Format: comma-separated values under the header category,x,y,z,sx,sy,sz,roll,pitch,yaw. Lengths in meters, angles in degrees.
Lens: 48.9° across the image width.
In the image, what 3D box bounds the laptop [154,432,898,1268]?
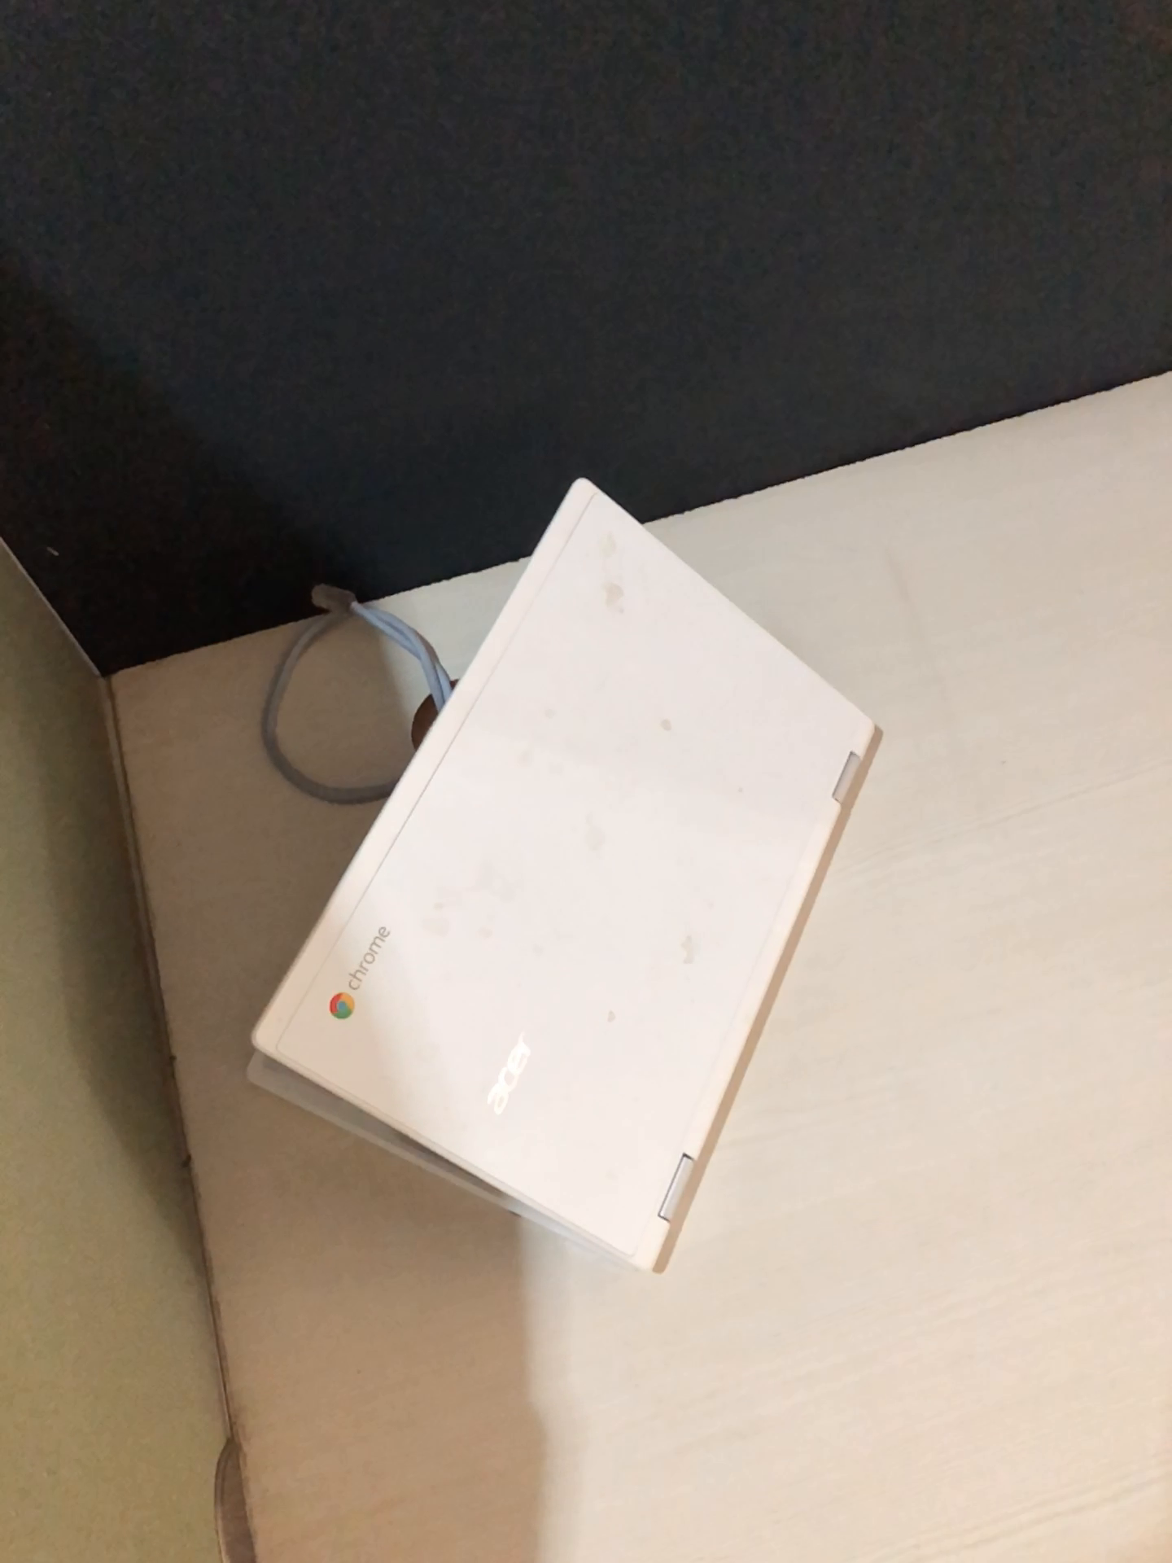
category,x,y,z,sx,sy,sz,roll,pitch,yaw
laptop,-0.009,0.022,0.556,0.187,0.115,0.285,22,67,12
